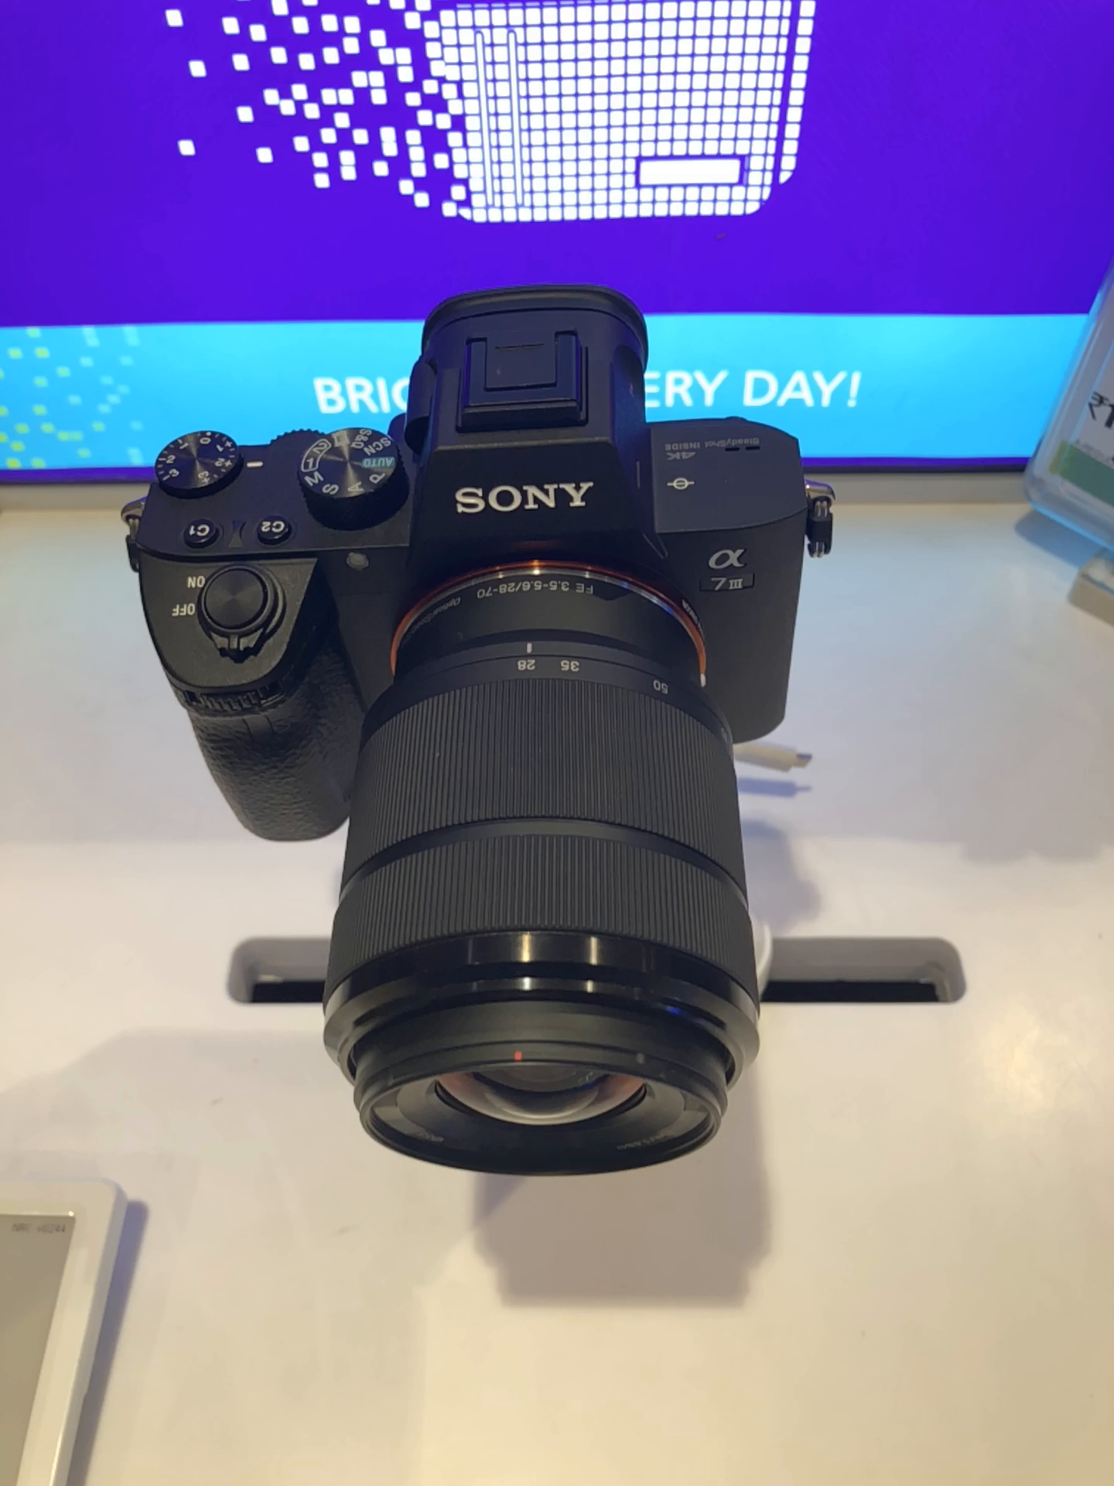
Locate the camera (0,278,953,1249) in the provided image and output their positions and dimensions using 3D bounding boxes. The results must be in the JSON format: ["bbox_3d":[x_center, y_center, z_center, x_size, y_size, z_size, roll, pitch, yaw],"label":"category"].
[{"bbox_3d":[-0.018,0.004,0.230,0.120,0.109,0.128,-6,52,-4],"label":"camera"}]
